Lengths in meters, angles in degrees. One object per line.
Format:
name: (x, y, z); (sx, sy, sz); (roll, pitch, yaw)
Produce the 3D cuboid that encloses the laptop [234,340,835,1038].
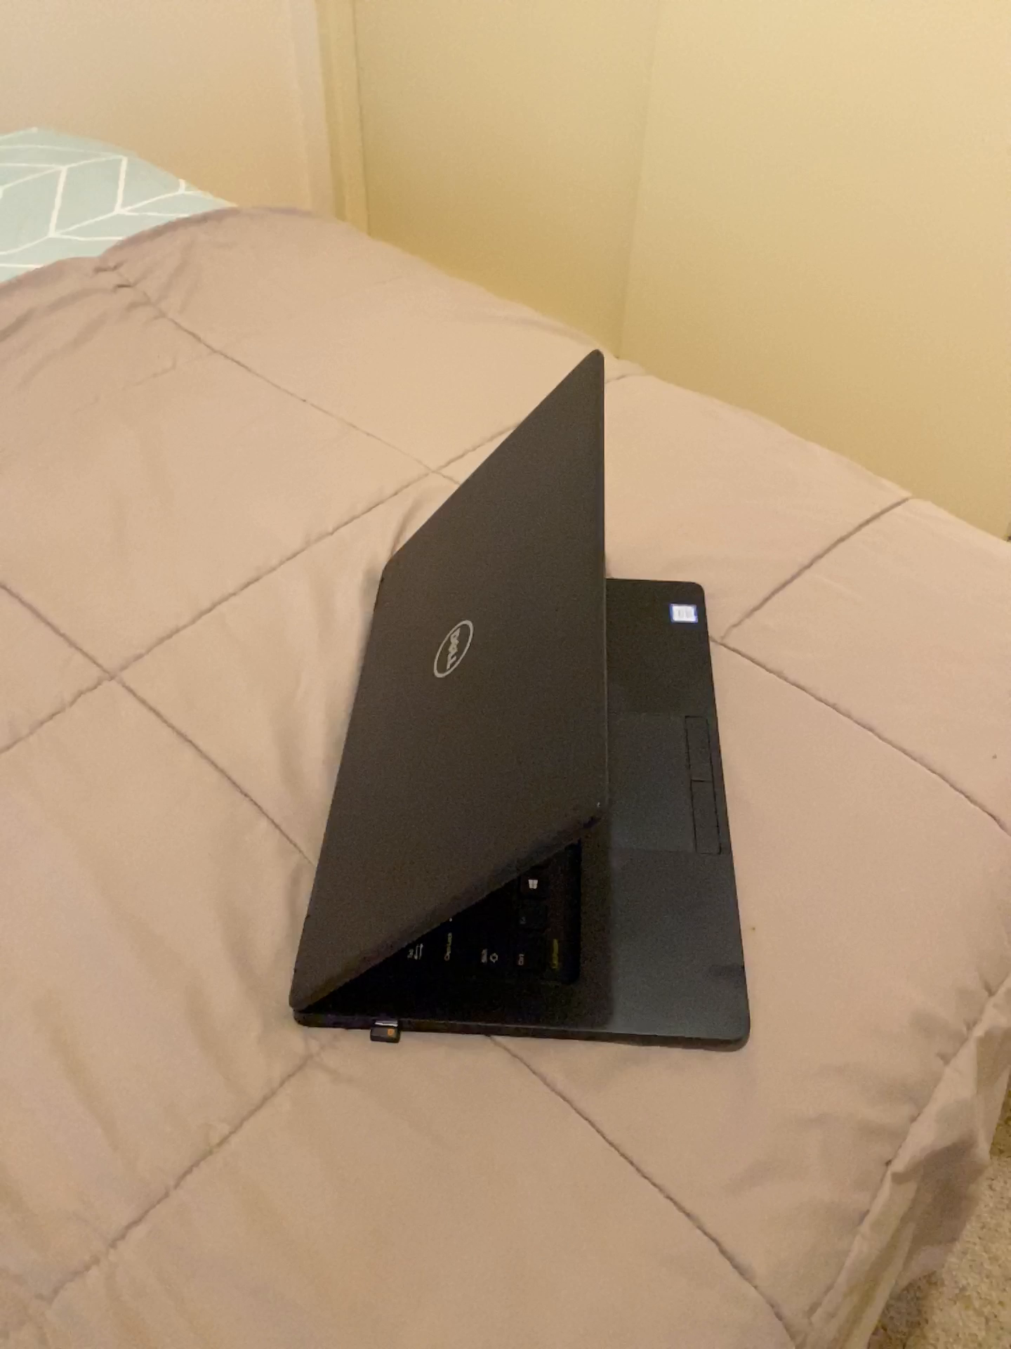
laptop: (0.019, -0.010, 0.567); (0.226, 0.183, 0.336); (3, 47, 2)
